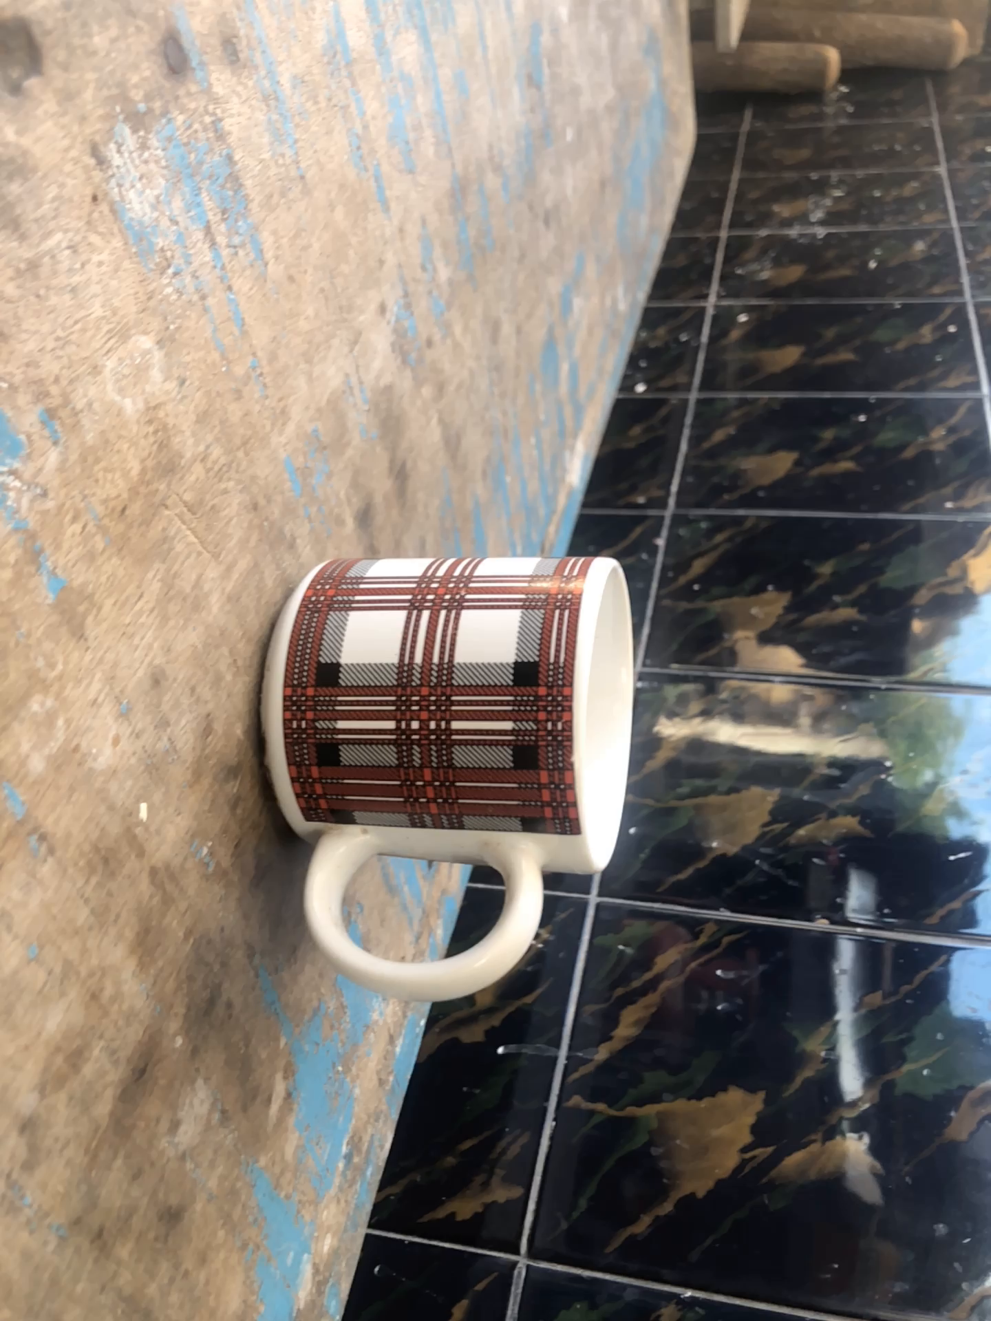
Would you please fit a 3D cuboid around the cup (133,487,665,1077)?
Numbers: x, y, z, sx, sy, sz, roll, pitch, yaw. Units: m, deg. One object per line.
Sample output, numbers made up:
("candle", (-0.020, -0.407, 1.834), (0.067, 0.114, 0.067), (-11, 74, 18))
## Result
("cup", (-0.010, 0.021, 0.244), (0.060, 0.080, 0.110), (78, 21, -46))
